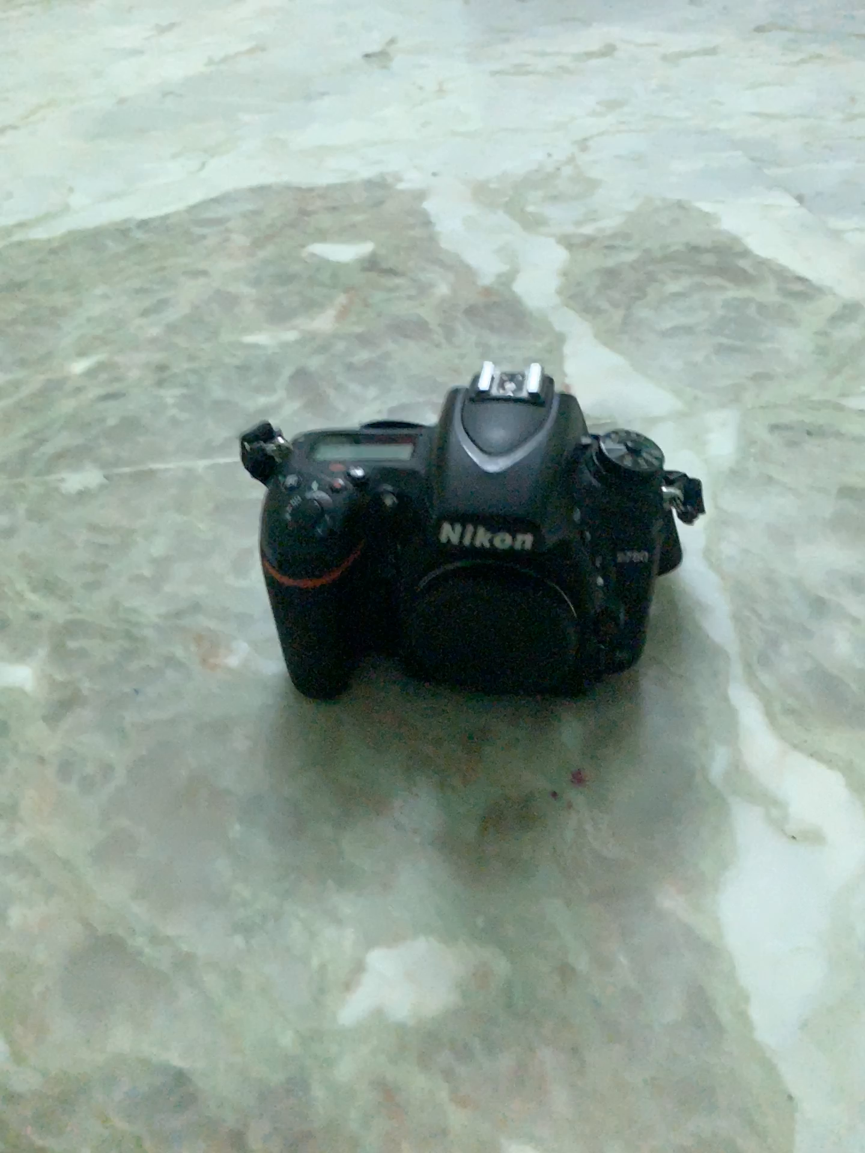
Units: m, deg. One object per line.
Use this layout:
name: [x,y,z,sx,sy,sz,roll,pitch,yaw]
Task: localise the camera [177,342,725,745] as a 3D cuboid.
camera: [0.010,-0.013,0.303,0.150,0.100,0.080,4,43,9]
